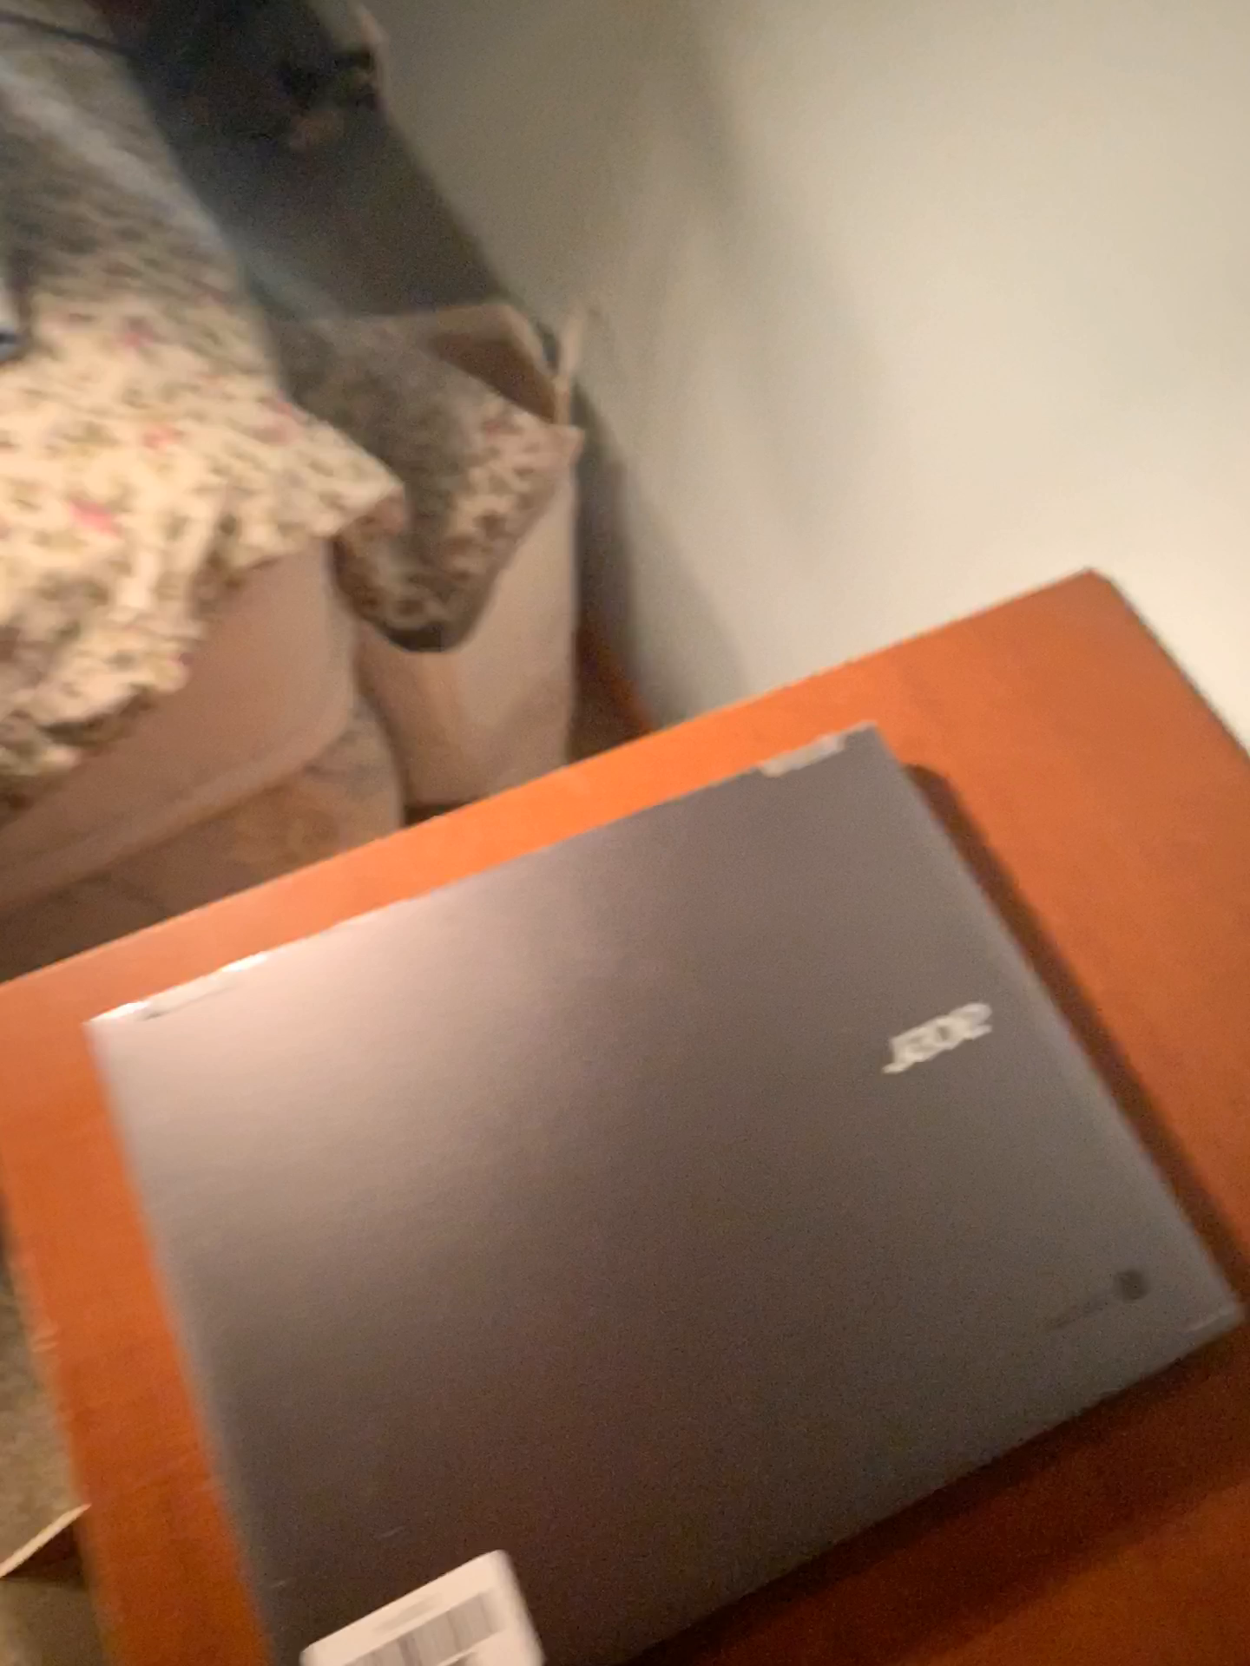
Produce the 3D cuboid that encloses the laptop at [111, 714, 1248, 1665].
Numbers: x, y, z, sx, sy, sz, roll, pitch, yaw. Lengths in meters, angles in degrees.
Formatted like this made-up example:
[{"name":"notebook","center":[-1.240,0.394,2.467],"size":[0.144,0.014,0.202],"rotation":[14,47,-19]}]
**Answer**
[{"name":"laptop","center":[0.012,0.101,0.424],"size":[0.299,0.002,0.233],"rotation":[-21,65,-13]}]
